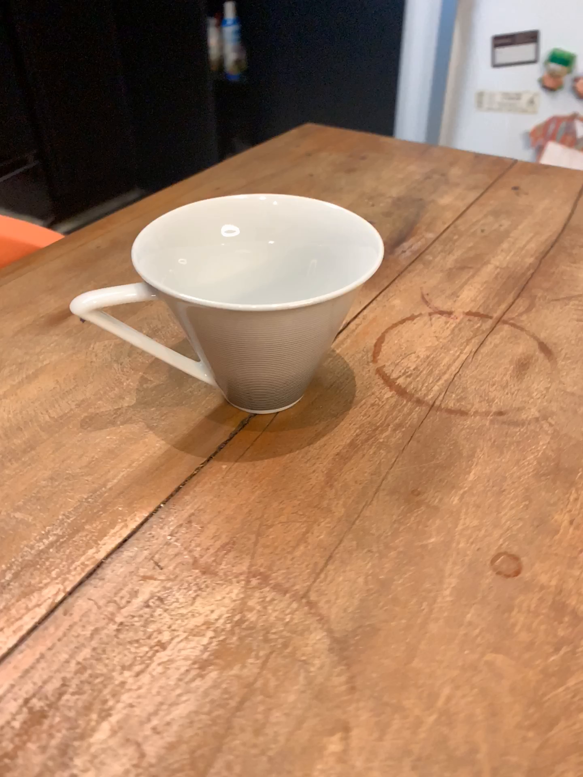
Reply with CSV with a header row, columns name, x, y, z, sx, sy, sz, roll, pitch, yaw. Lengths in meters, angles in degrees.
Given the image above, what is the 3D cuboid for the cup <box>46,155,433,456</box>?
name,x,y,z,sx,sy,sz,roll,pitch,yaw
cup,-0.025,-0.039,0.236,0.120,0.060,0.091,-12,41,-13
